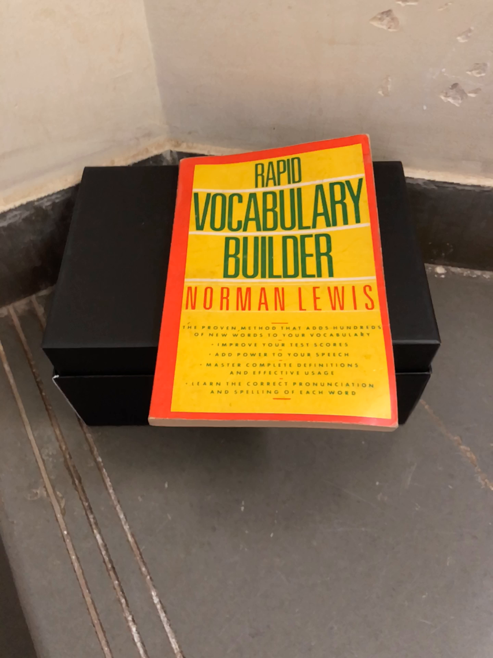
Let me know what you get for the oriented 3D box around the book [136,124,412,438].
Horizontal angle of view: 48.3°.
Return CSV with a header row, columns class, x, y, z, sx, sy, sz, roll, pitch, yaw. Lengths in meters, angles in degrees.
class,x,y,z,sx,sy,sz,roll,pitch,yaw
book,0.019,-0.047,0.354,0.140,0.030,0.231,1,57,3
